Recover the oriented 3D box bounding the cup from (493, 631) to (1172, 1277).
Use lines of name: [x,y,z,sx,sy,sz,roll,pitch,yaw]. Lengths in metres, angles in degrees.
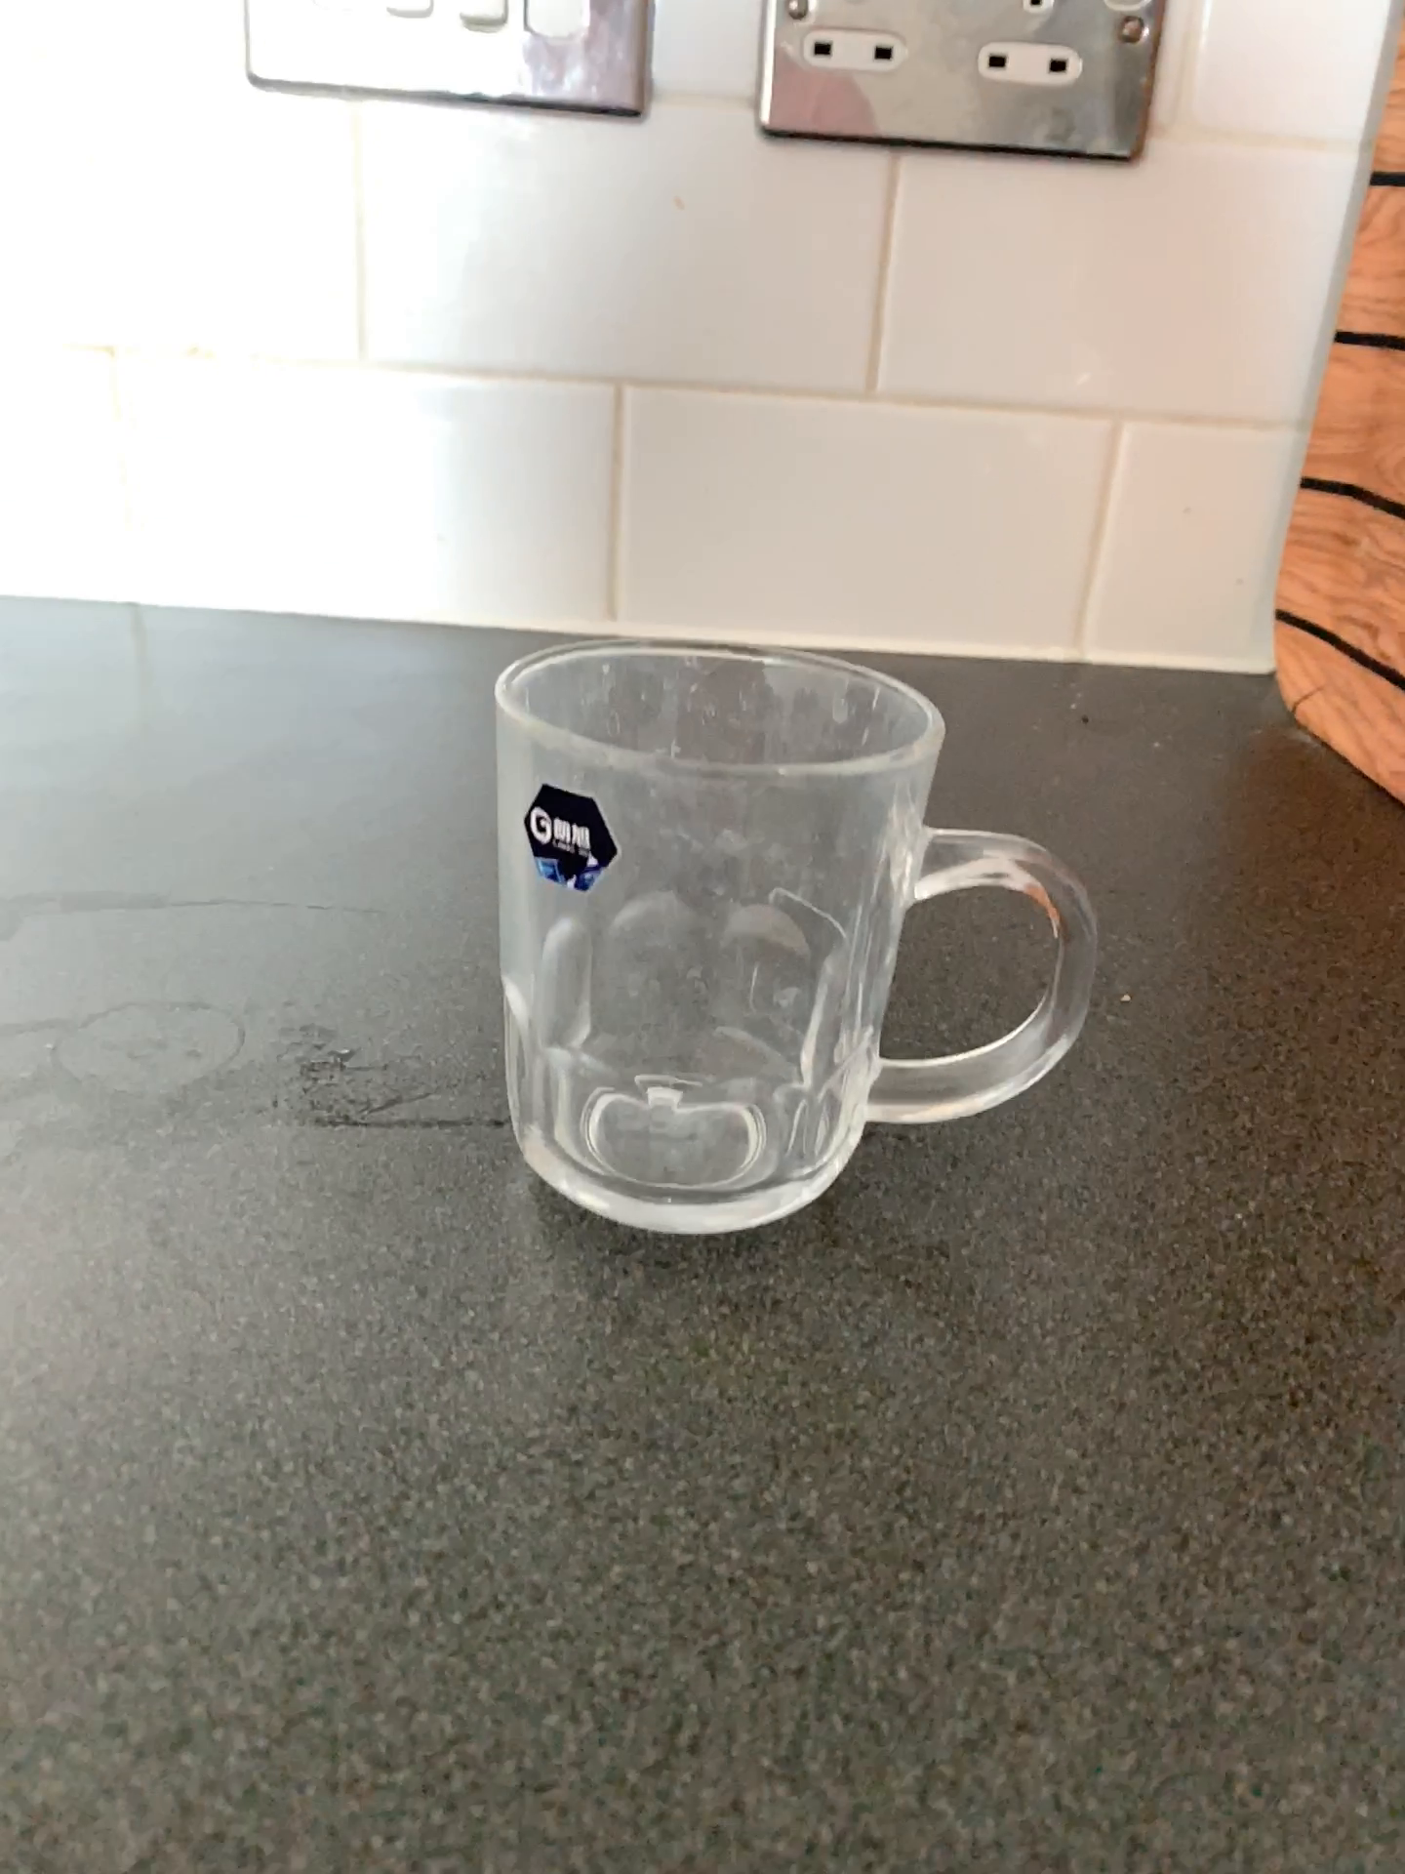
cup: [0.013,0.000,0.261,0.100,0.090,0.071,0,25,-8]
